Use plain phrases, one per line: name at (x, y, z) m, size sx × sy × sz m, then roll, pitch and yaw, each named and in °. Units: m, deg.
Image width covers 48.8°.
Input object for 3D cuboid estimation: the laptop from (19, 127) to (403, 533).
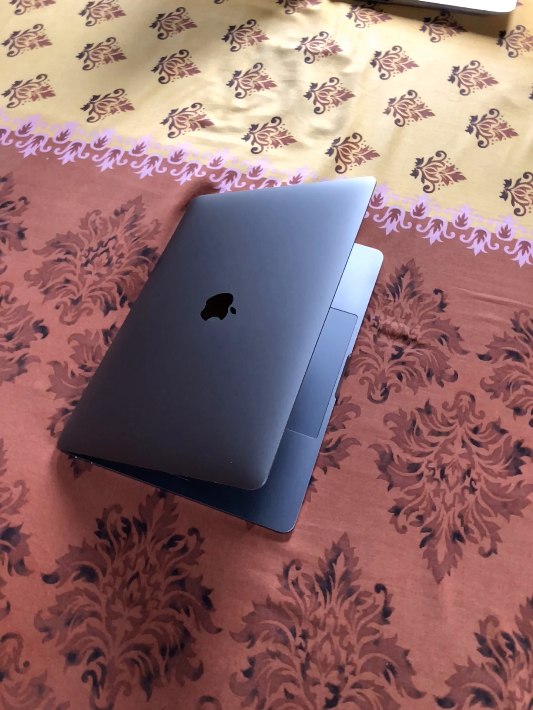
laptop at (-0.029, -0.035, 0.492) m, size 0.204 × 0.093 × 0.286 m, roll 17°, pitch 64°, yaw 11°
